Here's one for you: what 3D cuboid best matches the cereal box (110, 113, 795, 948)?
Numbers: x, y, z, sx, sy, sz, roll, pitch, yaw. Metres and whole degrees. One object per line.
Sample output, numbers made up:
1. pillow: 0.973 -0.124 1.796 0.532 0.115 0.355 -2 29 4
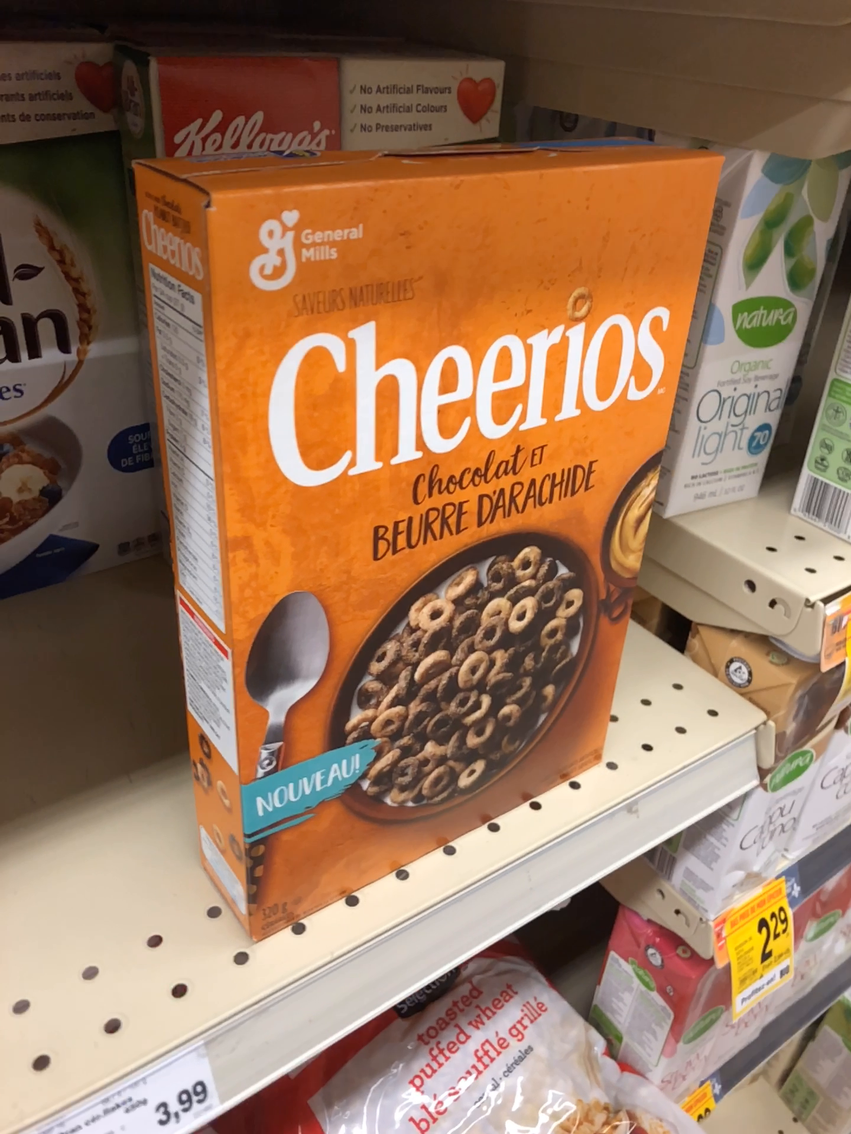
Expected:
1. cereal box: 0.012 -0.013 0.344 0.211 0.268 0.050 -18 39 -31
